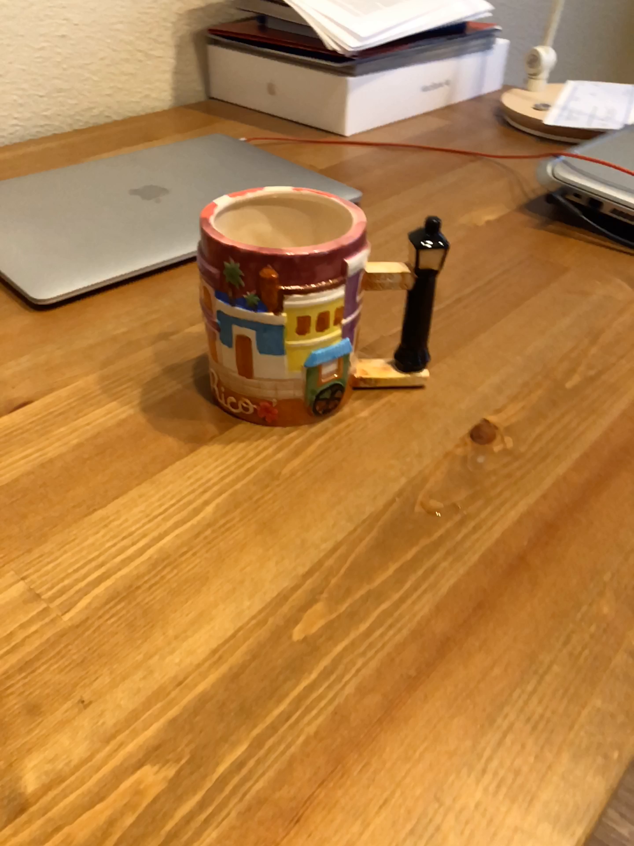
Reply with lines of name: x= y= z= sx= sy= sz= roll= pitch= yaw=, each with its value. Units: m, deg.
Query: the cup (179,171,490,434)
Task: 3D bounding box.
cup: x=0.004 y=-0.067 z=0.370 sx=0.130 sy=0.090 sz=0.090 roll=-9 pitch=39 yaw=-14
